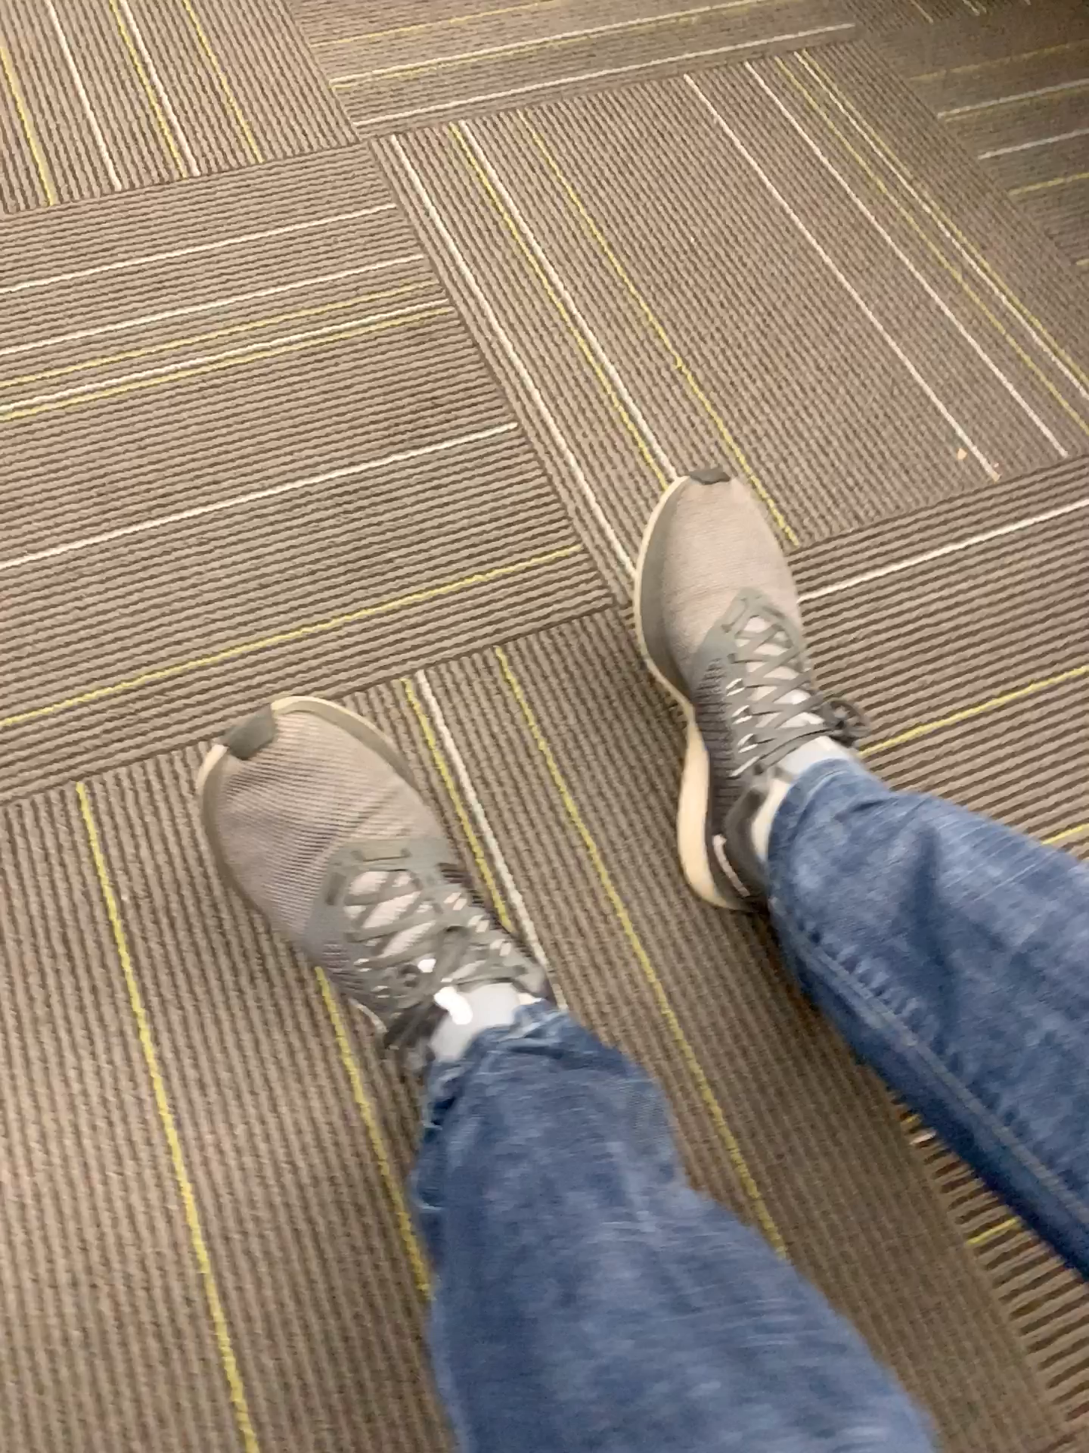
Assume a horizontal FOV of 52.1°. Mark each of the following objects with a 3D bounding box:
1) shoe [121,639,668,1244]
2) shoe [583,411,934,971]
[{"bbox_3d":[-0.066,0.118,0.580,0.119,0.293,0.122,-39,36,-14],"label":"shoe"},{"bbox_3d":[0.129,-0.024,0.681,0.119,0.122,0.294,-15,101,-17],"label":"shoe"}]
